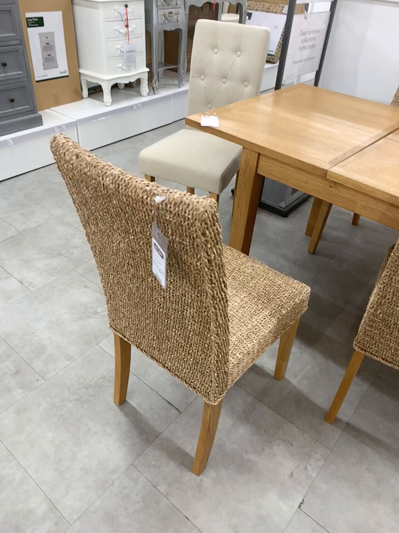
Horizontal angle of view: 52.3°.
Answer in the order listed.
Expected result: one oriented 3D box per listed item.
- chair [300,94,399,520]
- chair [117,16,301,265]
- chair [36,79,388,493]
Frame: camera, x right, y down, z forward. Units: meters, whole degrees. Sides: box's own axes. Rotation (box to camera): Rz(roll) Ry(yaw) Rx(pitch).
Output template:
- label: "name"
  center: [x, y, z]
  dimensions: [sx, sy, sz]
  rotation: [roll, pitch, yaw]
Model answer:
- label: "chair"
  center: [0.717, 0.092, 1.119]
  dimensions: [0.526, 0.870, 0.568]
  rotation: [24, 42, 24]
- label: "chair"
  center: [0.055, -0.600, 1.862]
  dimensions: [0.426, 0.840, 0.729]
  rotation: [22, 41, 22]
- label: "chair"
  center: [0.027, 0.030, 1.125]
  dimensions: [0.507, 0.840, 0.577]
  rotation: [30, 44, 30]
